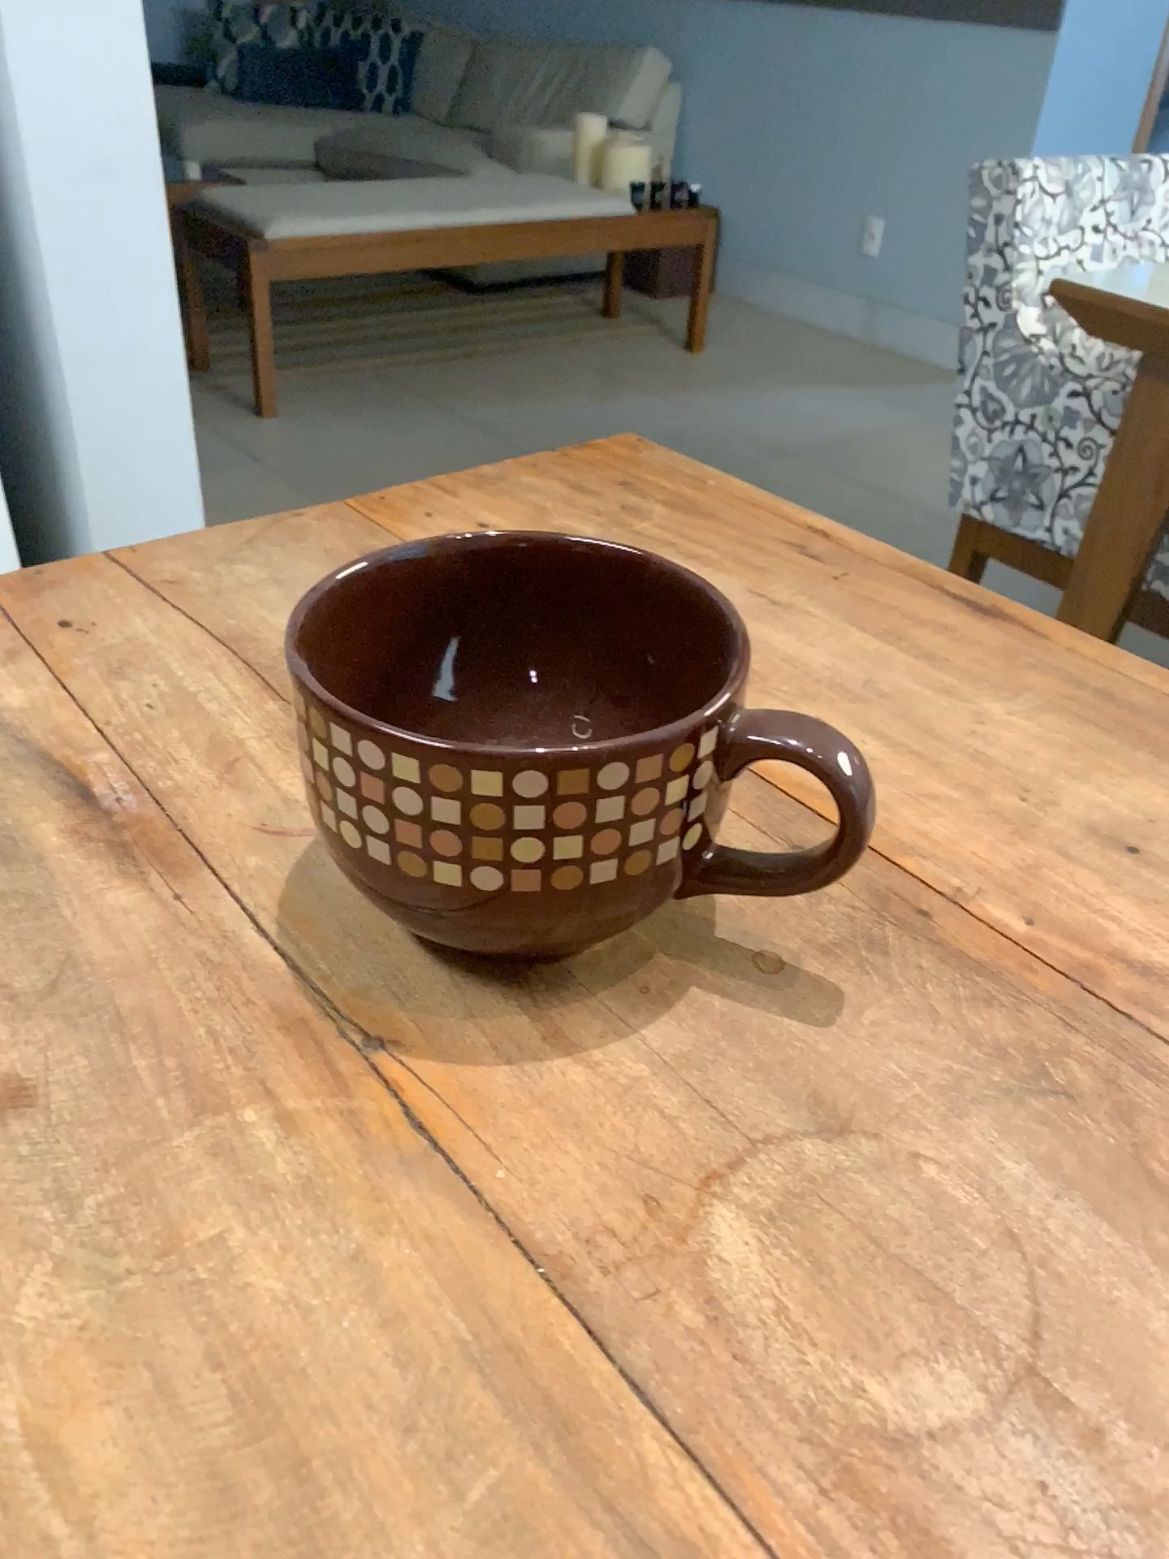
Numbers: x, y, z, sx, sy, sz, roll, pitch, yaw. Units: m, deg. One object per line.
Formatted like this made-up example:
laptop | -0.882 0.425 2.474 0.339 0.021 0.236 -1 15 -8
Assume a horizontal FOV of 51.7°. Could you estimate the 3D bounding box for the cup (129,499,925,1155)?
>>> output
cup | -0.010 -0.001 0.363 0.180 0.089 0.141 16 36 17
